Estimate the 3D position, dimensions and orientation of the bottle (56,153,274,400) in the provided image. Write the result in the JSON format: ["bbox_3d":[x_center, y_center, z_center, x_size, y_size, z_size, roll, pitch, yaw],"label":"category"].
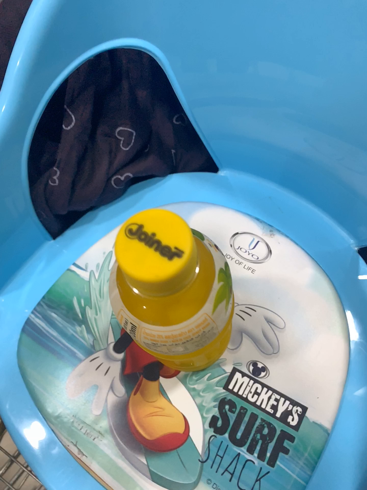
[{"bbox_3d":[-0.005,0.031,0.195,0.060,0.140,0.060,-2,62,3],"label":"bottle"}]
